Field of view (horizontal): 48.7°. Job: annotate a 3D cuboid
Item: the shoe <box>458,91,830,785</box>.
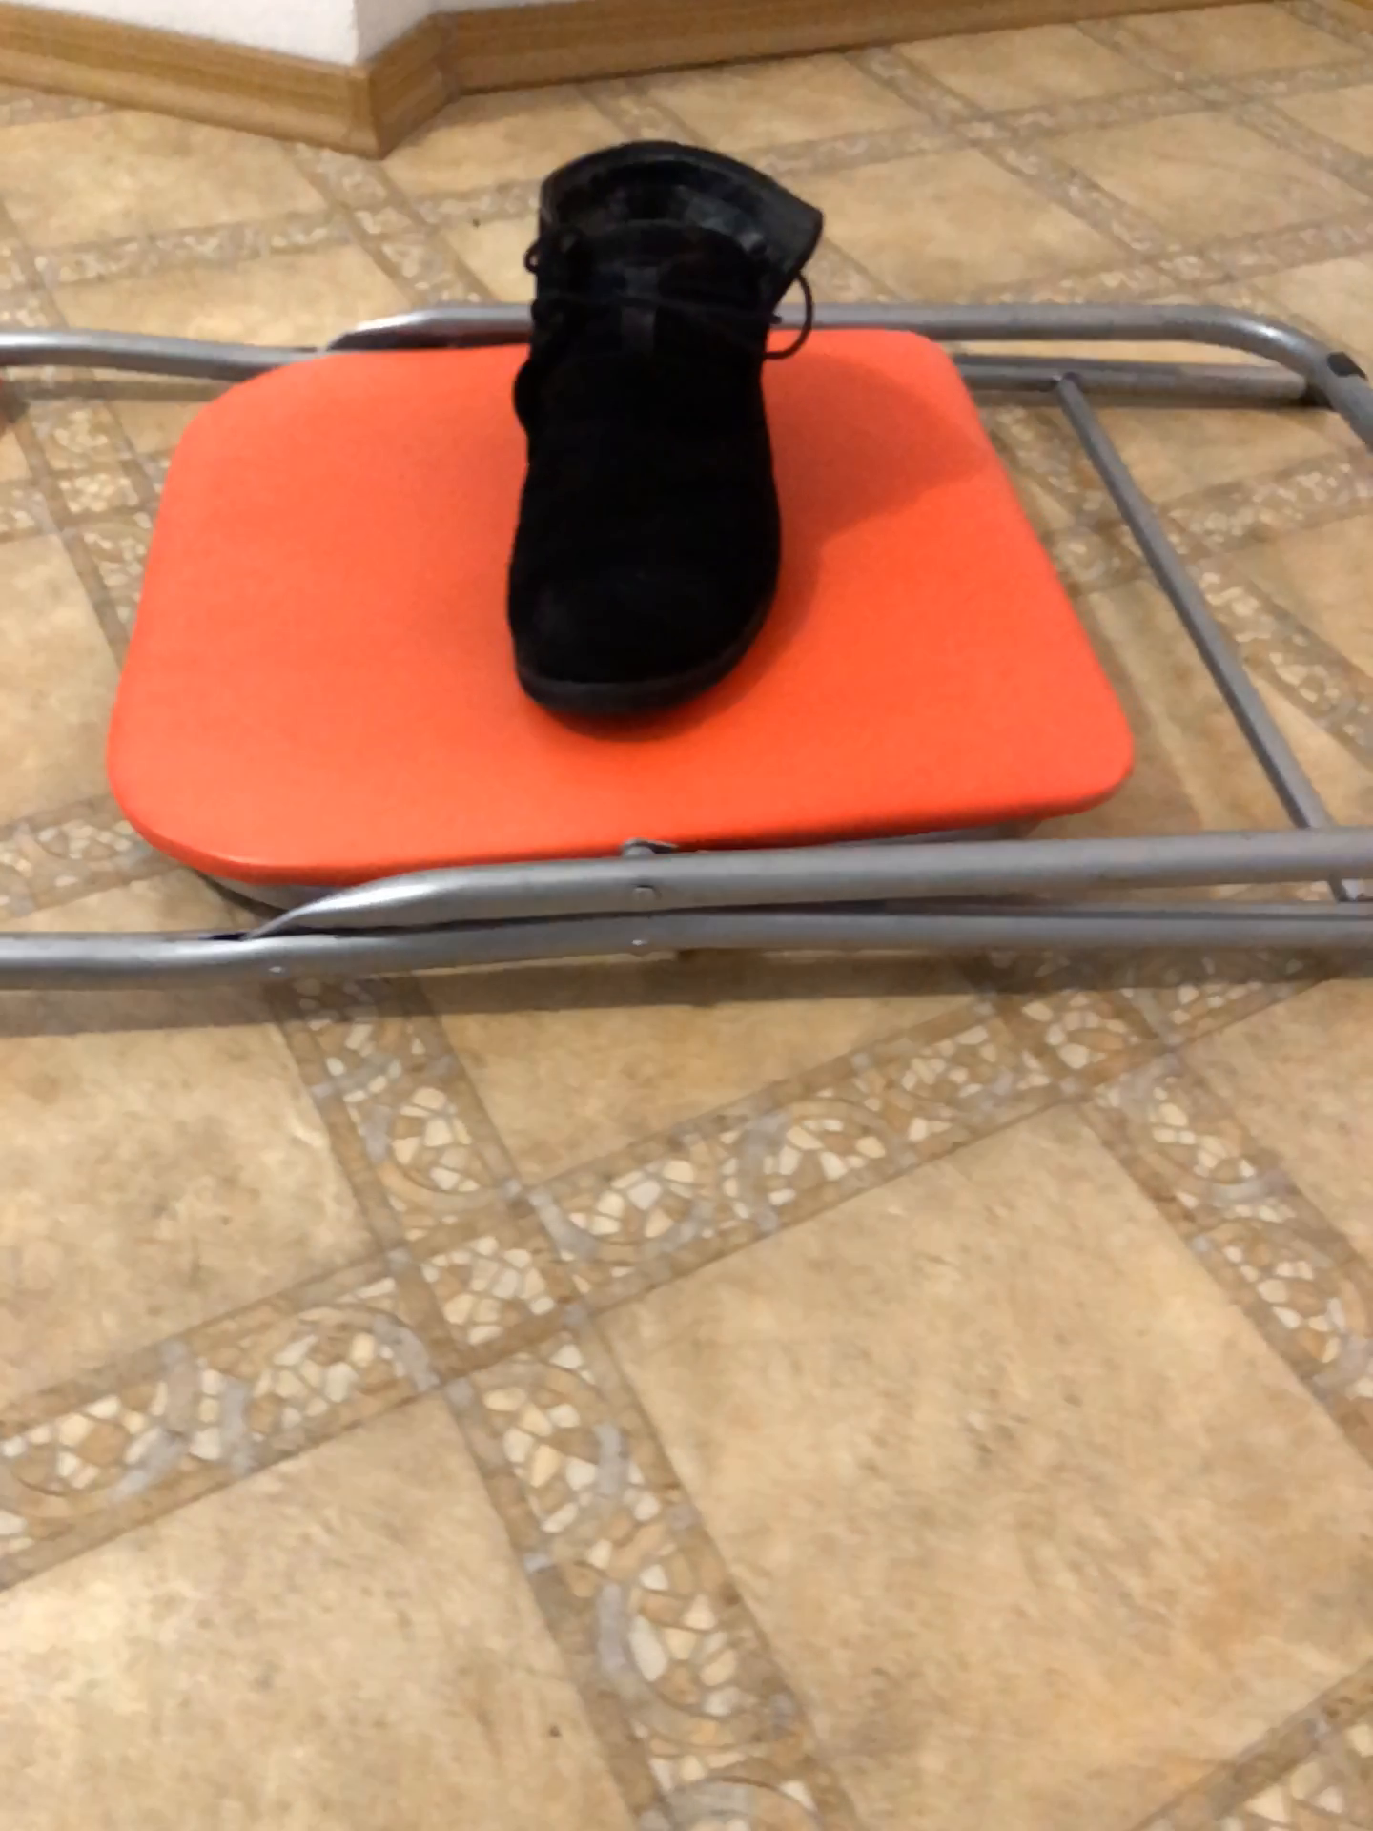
[{"bbox_3d":[-0.013,-0.194,0.587,0.110,0.129,0.272,4,48,-2],"label":"shoe"}]
